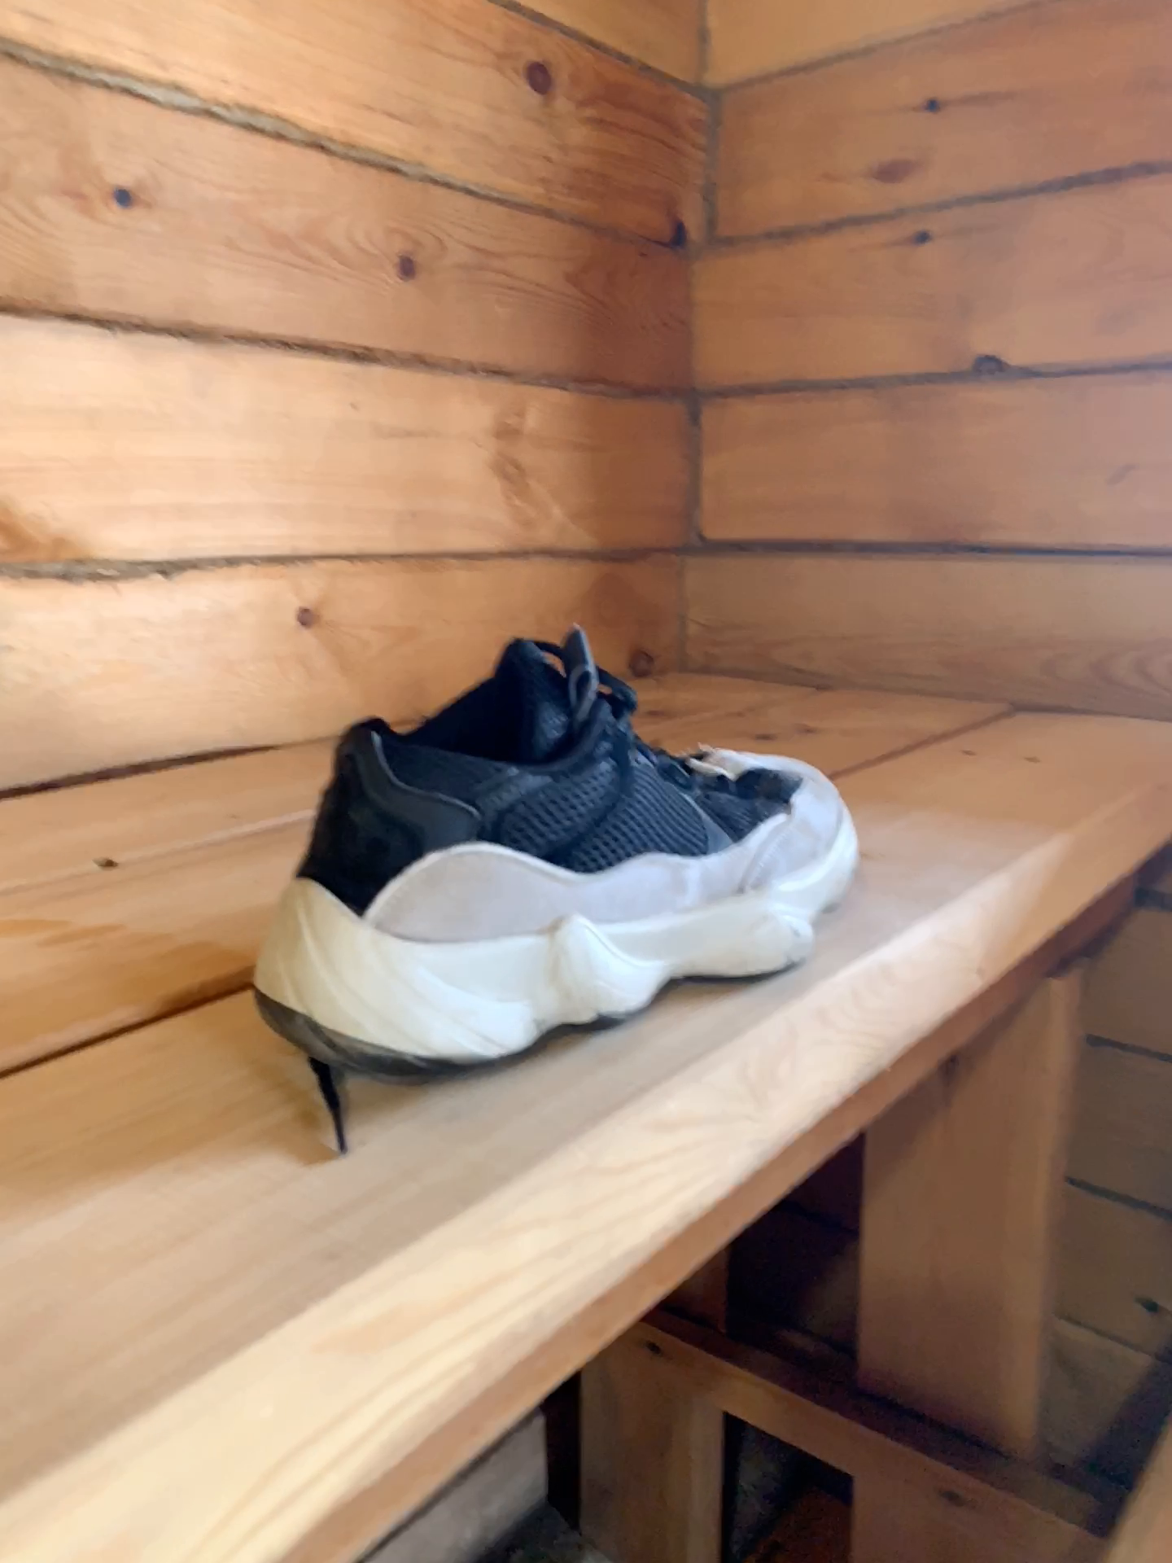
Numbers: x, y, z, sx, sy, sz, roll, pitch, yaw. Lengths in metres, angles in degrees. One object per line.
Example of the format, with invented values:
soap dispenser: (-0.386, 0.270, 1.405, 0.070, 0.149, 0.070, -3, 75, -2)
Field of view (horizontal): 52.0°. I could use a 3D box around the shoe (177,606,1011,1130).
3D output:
shoe: (0.018, 0.003, 0.415, 0.271, 0.110, 0.120, -10, 15, -41)
